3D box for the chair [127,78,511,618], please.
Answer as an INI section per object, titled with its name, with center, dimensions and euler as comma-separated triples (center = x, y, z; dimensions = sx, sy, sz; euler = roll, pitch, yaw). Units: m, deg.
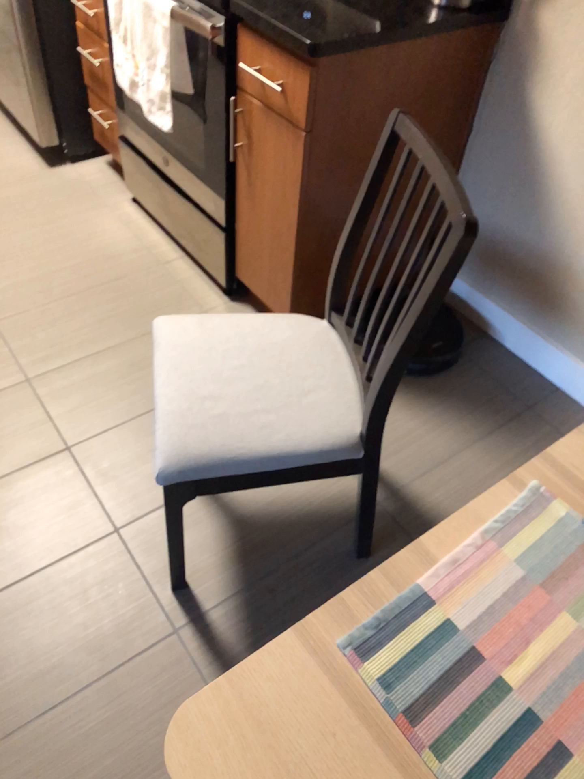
[chair]
center = -0.021, 0.008, 1.418
dimensions = 0.510, 1.125, 0.482
euler = 0, 46, -7
